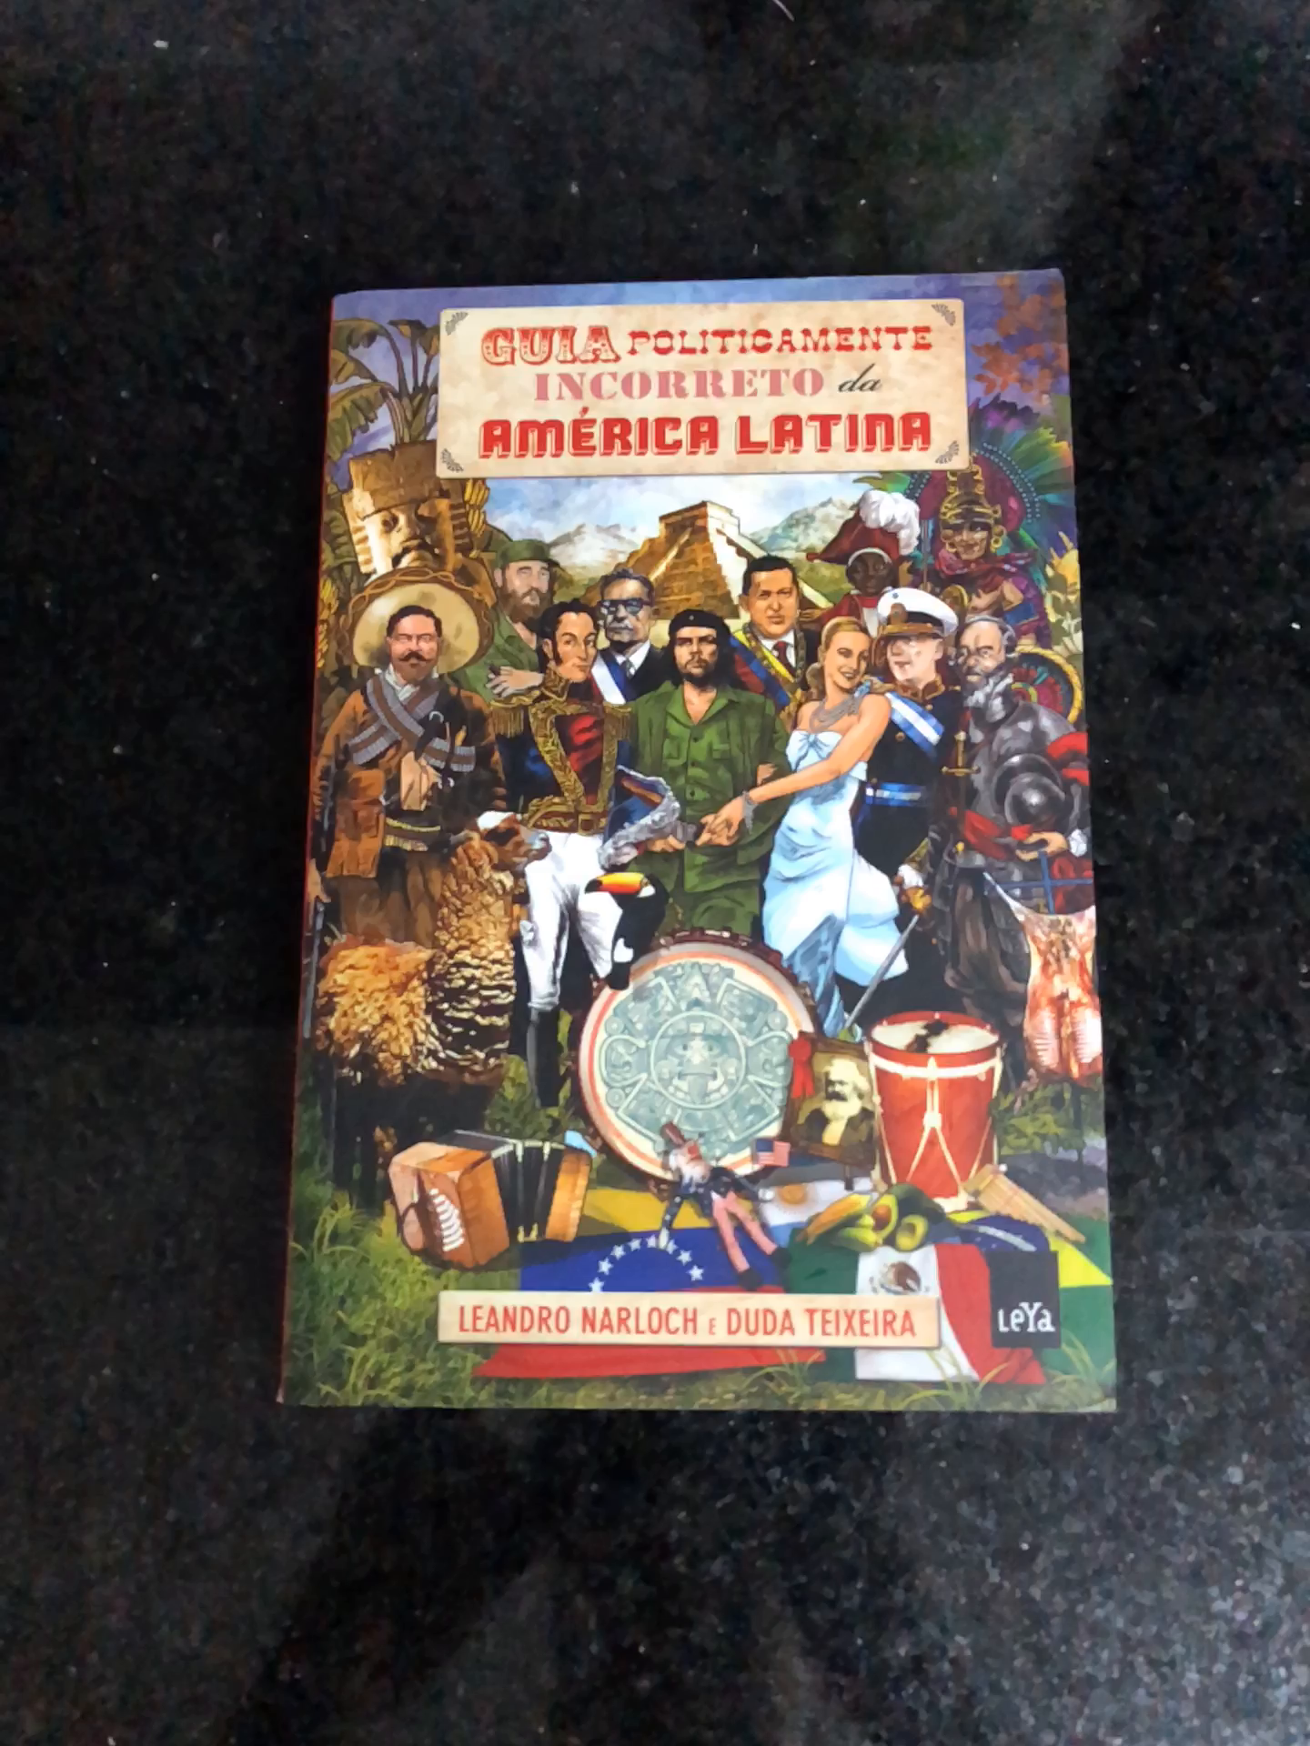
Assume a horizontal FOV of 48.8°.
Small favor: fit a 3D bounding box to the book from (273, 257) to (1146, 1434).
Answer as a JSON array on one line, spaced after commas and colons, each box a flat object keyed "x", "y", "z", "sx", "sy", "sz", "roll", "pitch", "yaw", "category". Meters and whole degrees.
[{"x": 0.009, "y": -0.009, "z": 0.288, "sx": 0.150, "sy": 0.040, "sz": 0.220, "roll": -1, "pitch": 80, "yaw": 3, "category": "book"}]
